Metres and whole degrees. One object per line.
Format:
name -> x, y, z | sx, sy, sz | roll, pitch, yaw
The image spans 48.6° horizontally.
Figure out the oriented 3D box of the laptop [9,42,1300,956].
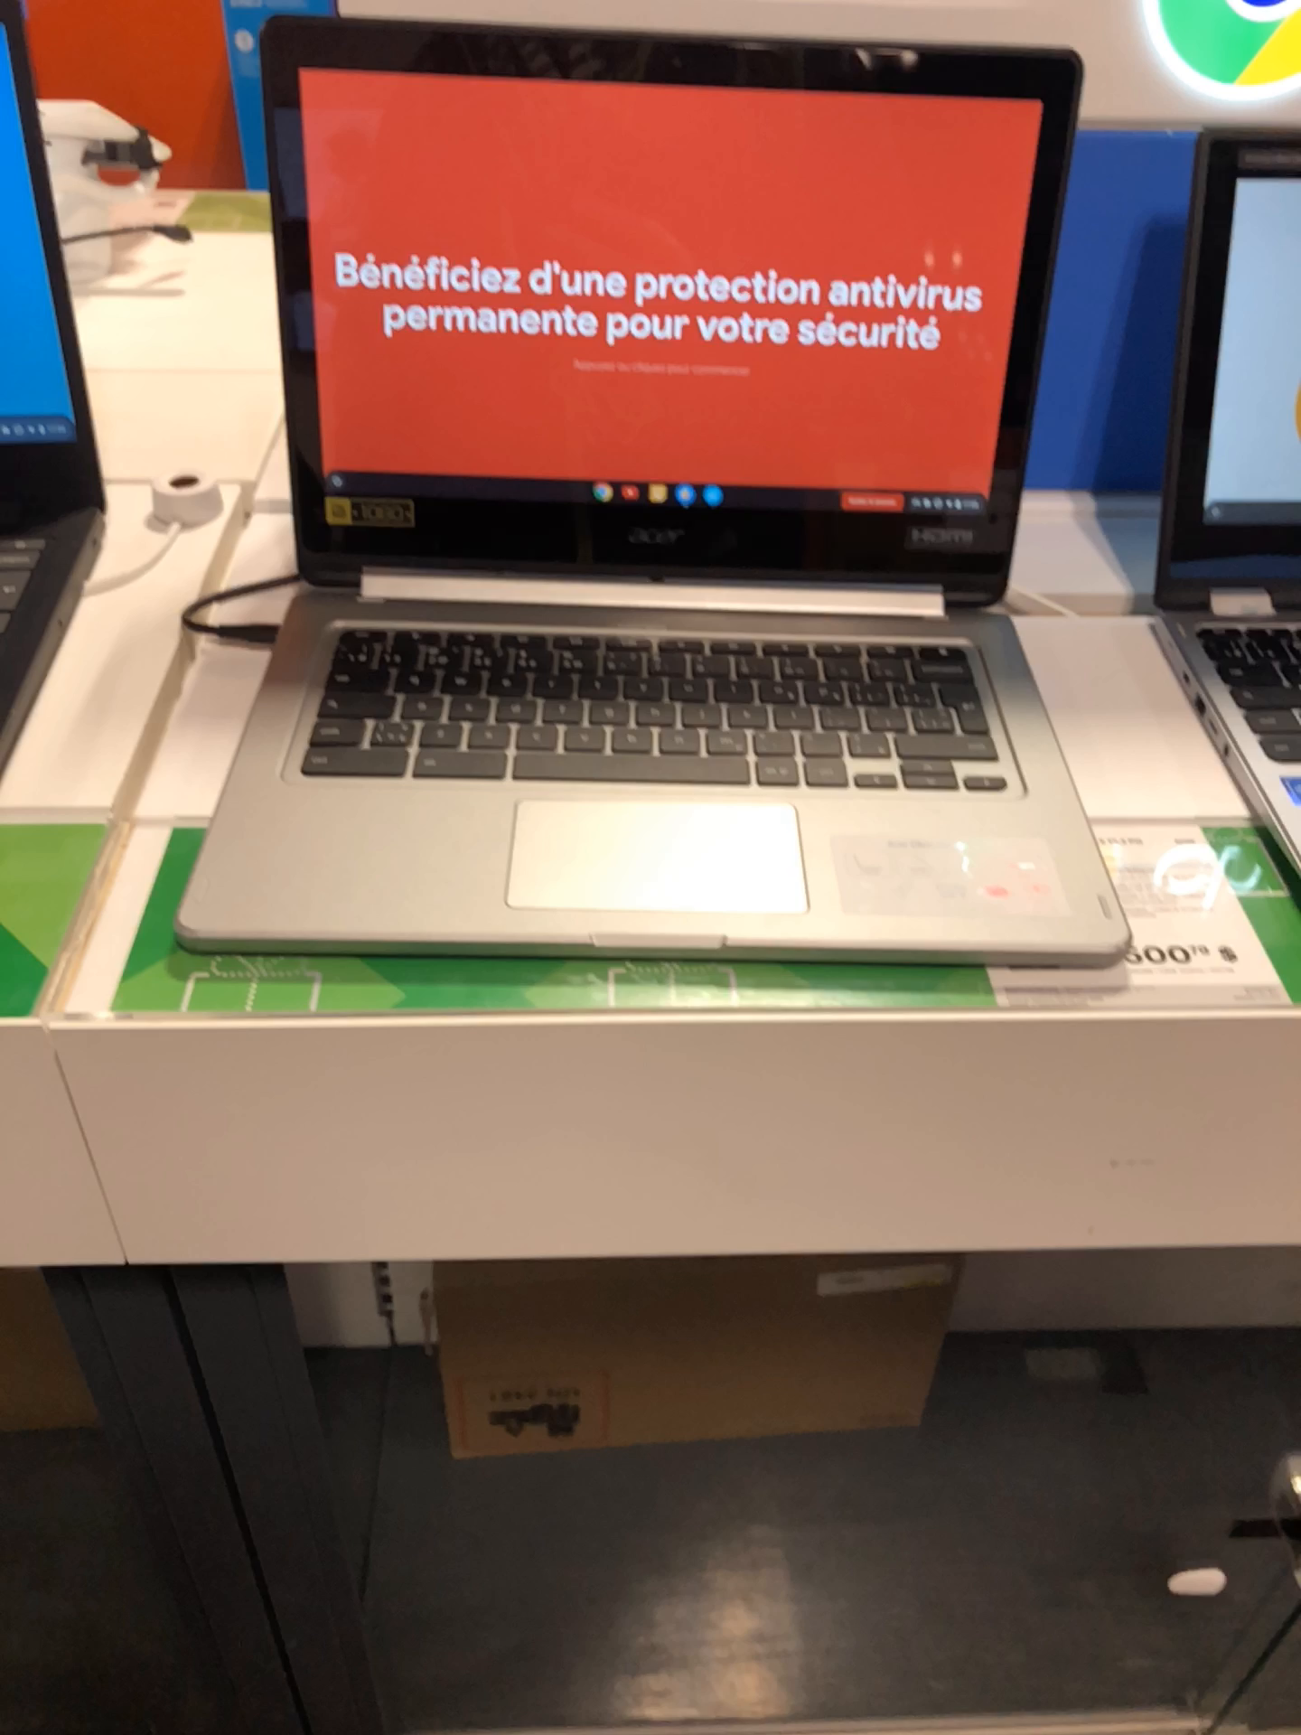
laptop -> 0.004, -0.135, 0.504 | 0.317, 0.226, 0.240 | 1, 38, -1
